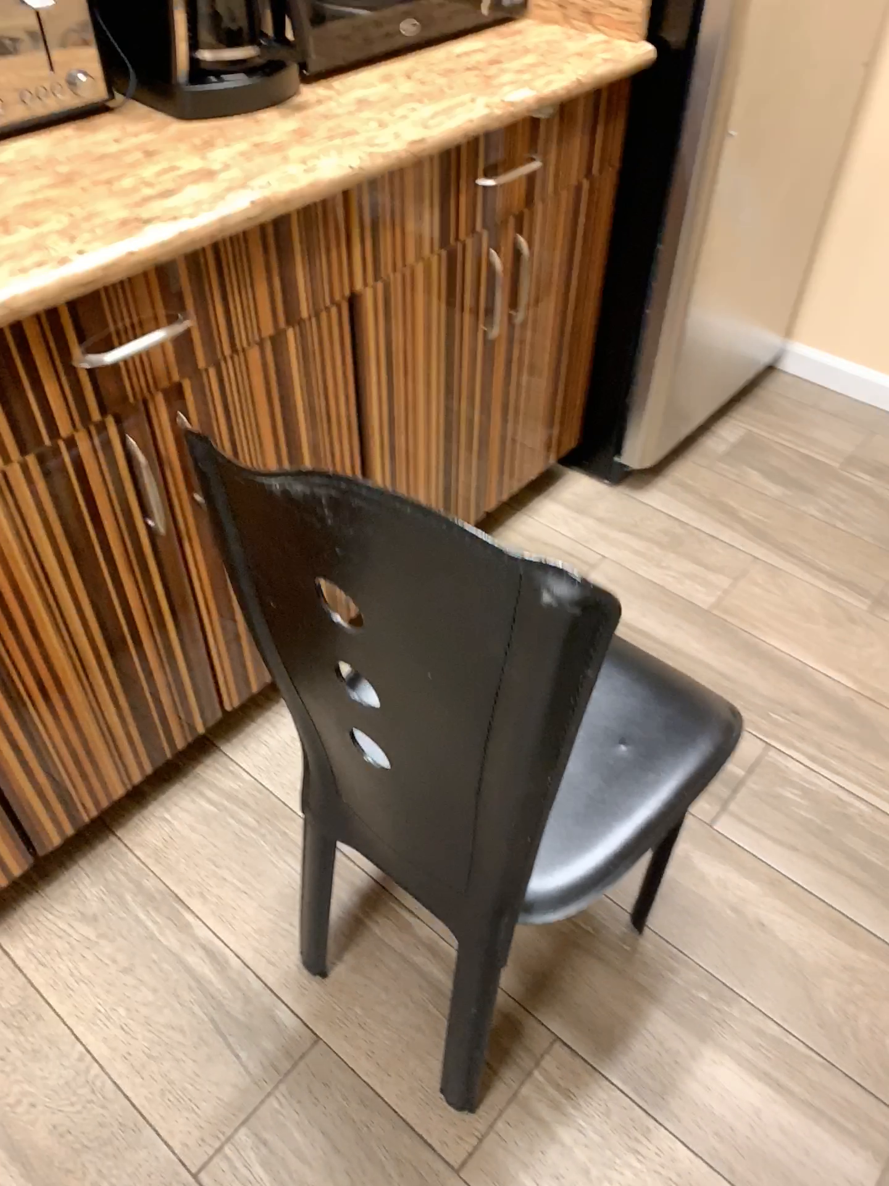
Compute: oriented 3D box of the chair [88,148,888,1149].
[{"bbox_3d":[0.057,0.115,1.018,0.462,0.942,0.475,32,52,27],"label":"chair"}]
